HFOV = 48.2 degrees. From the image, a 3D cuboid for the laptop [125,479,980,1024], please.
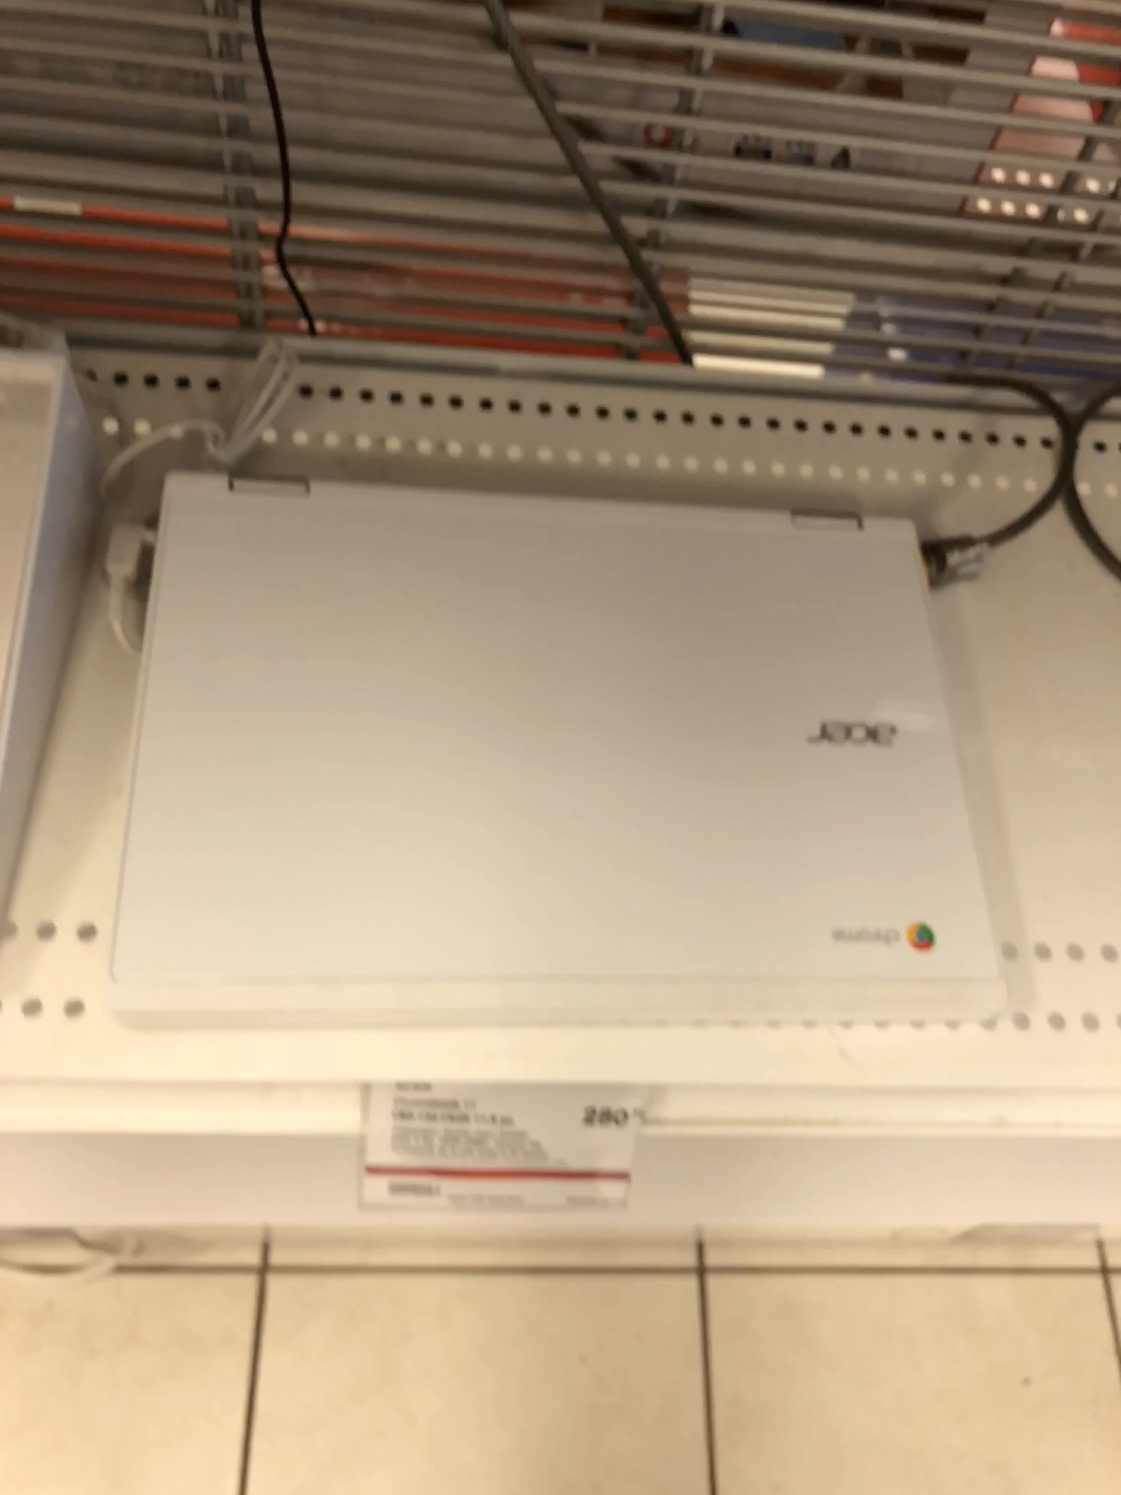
[{"bbox_3d":[-0.001,0.001,0.457,0.286,0.024,0.184,2,70,-8],"label":"laptop"}]
